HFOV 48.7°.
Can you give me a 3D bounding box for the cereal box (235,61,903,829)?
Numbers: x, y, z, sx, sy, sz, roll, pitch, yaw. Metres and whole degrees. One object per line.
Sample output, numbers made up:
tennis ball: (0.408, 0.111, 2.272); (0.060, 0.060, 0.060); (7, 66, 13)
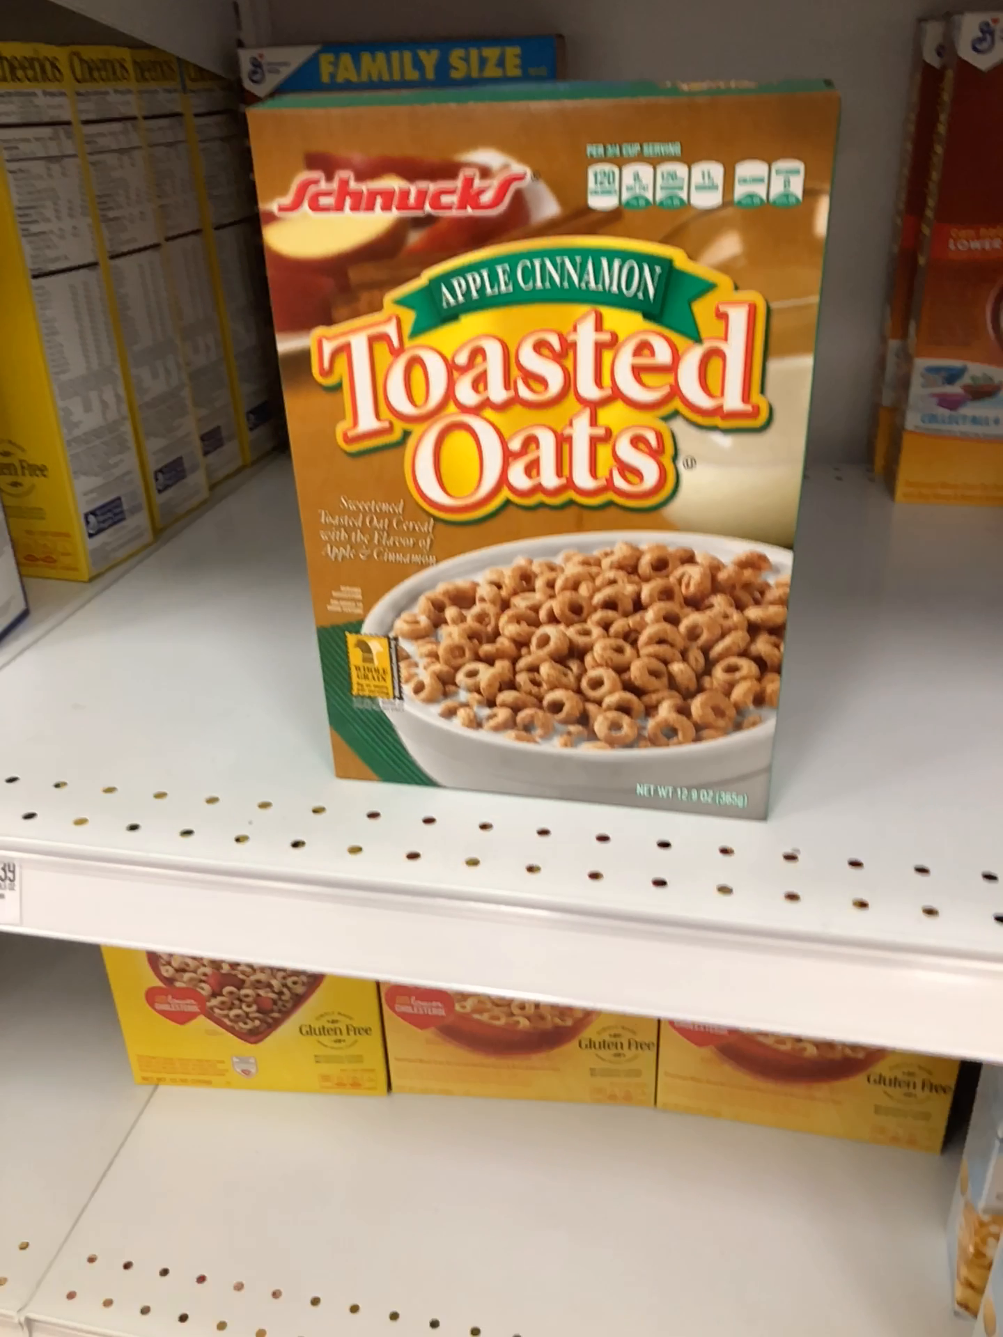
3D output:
cereal box: (0.023, -0.079, 0.438); (0.210, 0.279, 0.060); (5, 29, 11)
